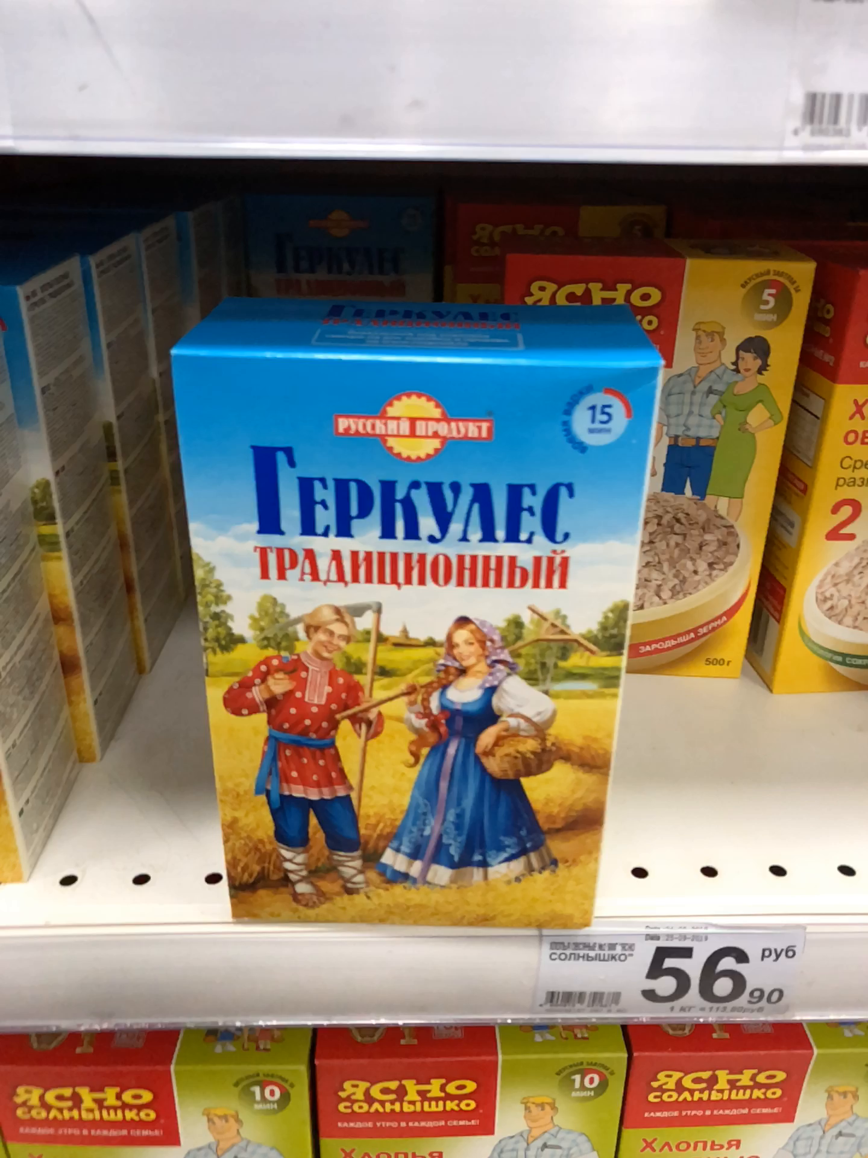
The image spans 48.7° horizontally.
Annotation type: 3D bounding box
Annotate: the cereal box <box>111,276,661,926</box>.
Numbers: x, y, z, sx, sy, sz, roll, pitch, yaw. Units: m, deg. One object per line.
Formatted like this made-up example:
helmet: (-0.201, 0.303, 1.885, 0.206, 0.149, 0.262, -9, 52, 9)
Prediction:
cereal box: (-0.013, 0.010, 0.300, 0.130, 0.189, 0.070, 1, 27, 0)
